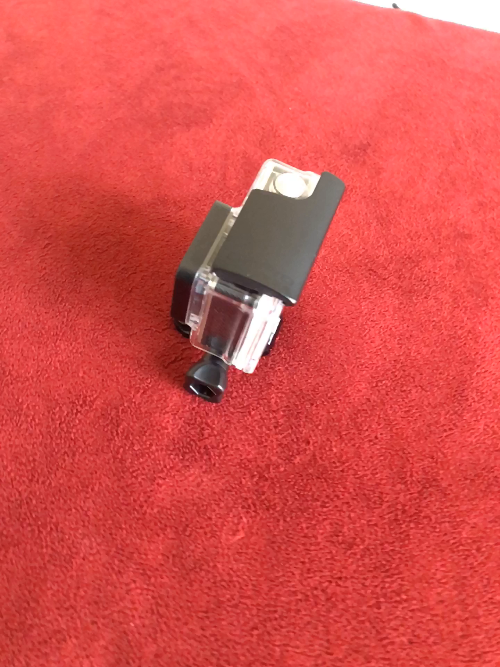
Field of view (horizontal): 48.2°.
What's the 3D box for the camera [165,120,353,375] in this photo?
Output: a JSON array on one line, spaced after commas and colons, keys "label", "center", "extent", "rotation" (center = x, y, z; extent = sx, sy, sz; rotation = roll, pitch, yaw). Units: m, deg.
[{"label": "camera", "center": [0.003, -0.033, 0.212], "extent": [0.040, 0.050, 0.073], "rotation": [23, 56, 1]}]
